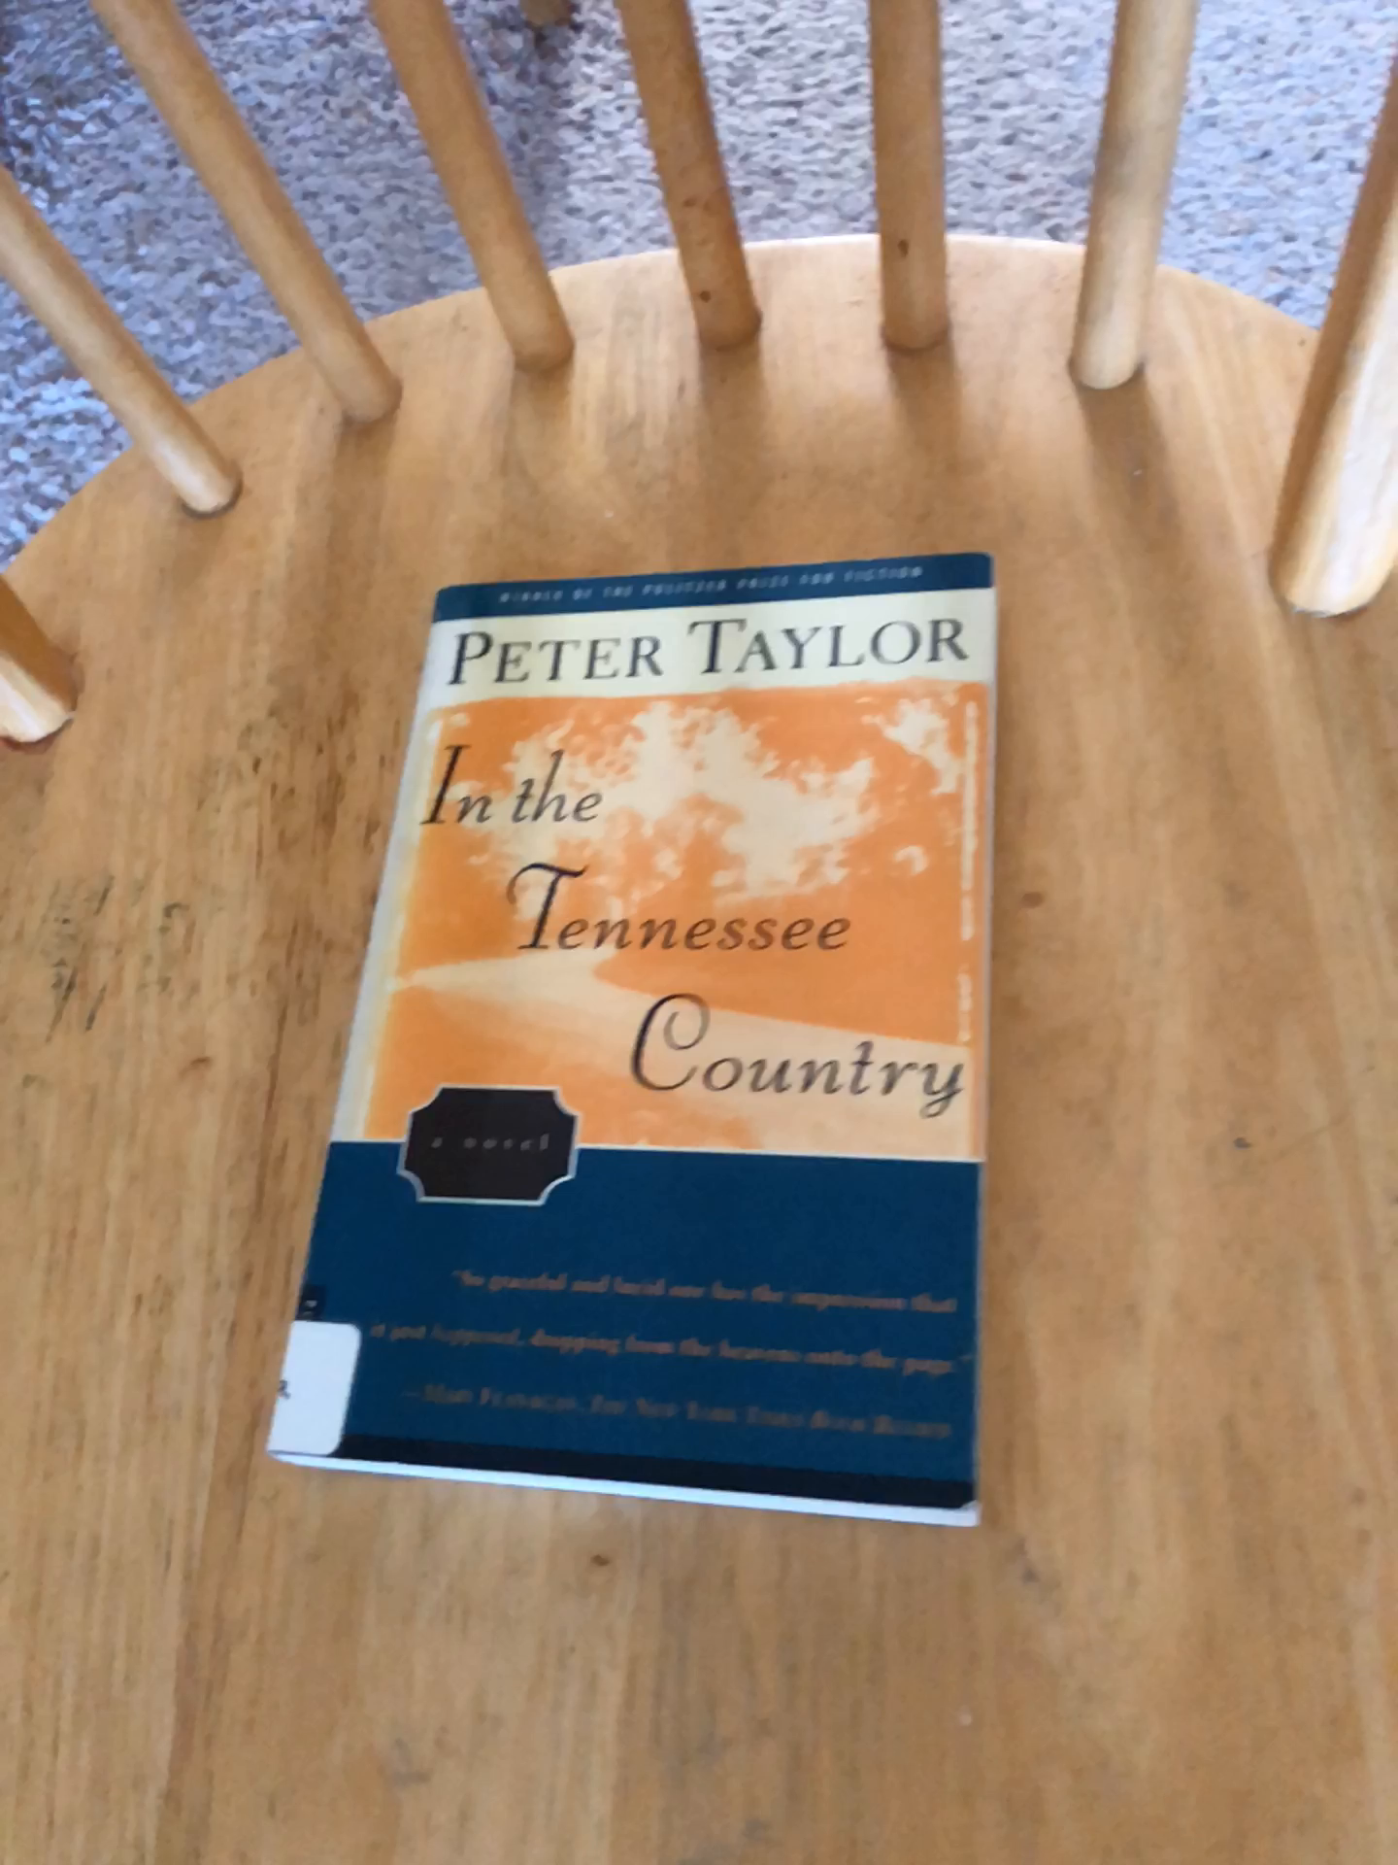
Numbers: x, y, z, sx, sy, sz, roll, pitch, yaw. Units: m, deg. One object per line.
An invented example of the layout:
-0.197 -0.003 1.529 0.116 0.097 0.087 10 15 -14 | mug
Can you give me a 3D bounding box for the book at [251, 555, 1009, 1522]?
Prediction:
-0.006 0.012 0.330 0.137 0.025 0.200 0 65 14 | book
